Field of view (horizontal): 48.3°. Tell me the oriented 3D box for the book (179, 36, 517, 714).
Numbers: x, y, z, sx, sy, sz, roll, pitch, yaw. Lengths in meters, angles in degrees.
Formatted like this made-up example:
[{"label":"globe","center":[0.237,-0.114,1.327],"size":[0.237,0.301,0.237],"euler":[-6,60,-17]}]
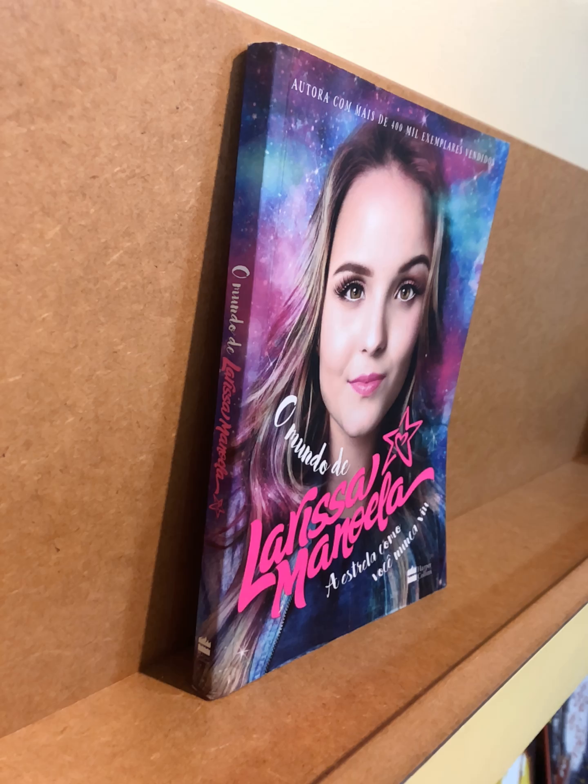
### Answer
[{"label":"book","center":[0.028,-0.003,0.270],"size":[0.020,0.222,0.150],"euler":[17,16,43]}]
